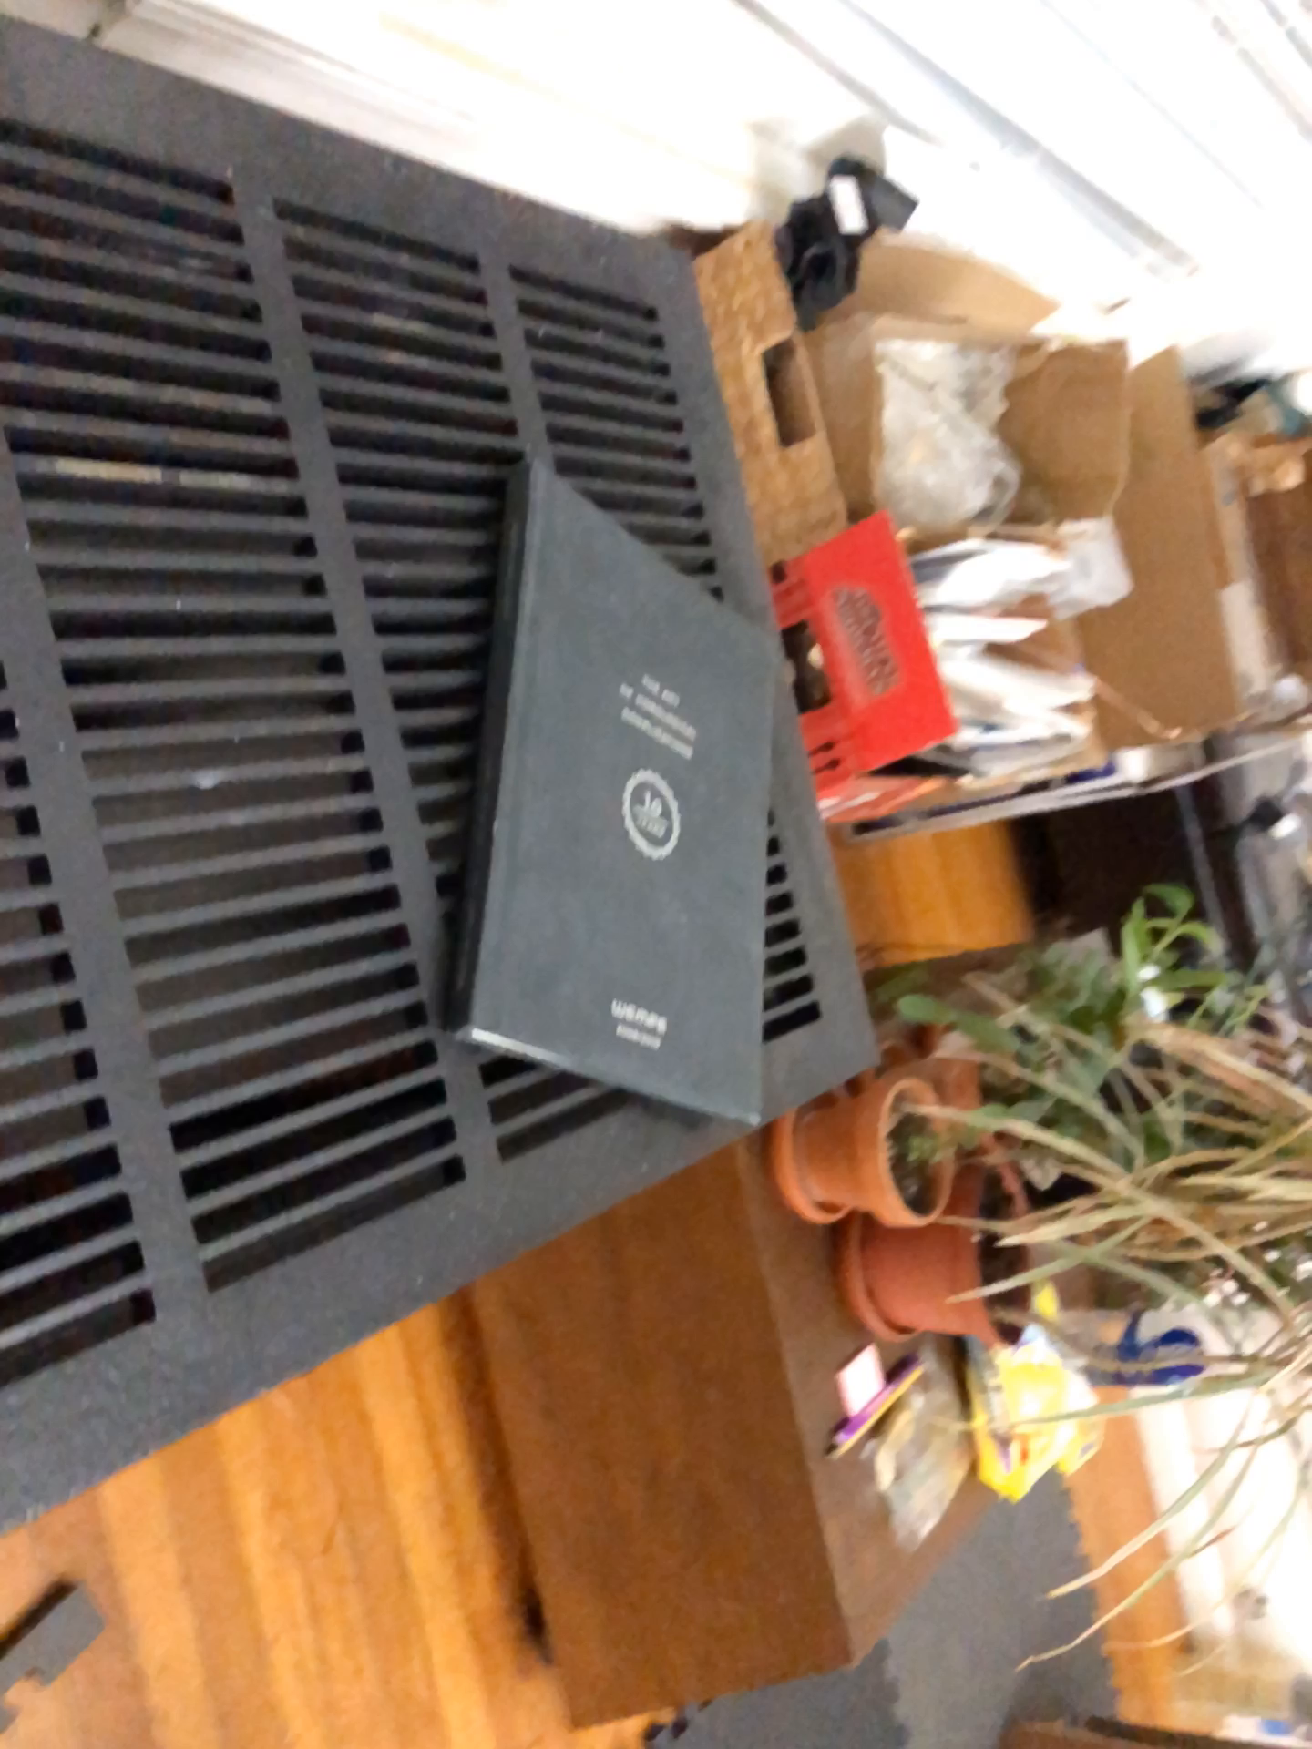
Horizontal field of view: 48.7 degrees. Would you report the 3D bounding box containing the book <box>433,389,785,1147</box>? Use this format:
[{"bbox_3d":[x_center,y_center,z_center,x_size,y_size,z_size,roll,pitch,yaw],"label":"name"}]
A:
[{"bbox_3d":[-0.006,-0.036,0.552,0.161,0.020,0.250,26,59,-46],"label":"book"}]
